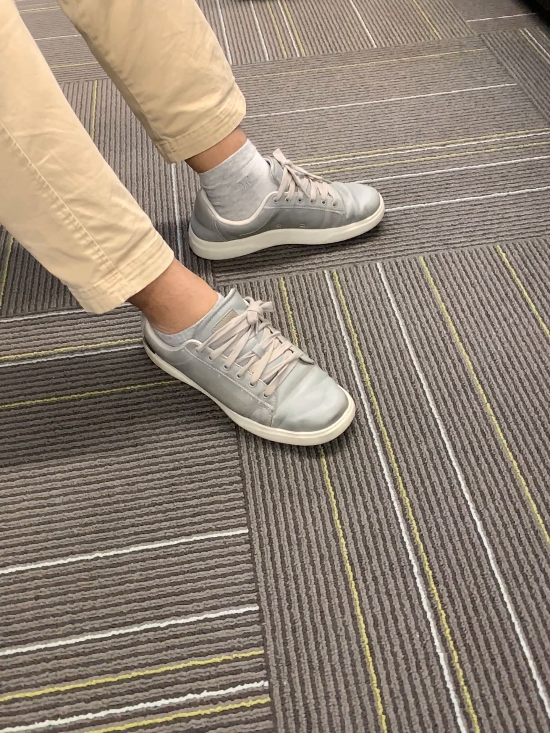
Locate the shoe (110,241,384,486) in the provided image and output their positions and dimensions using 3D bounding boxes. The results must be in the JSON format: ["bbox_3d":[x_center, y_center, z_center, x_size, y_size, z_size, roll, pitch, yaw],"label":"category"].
[{"bbox_3d":[-0.032,-0.008,0.645,0.271,0.139,0.120,28,60,21],"label":"shoe"}]

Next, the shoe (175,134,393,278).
[{"bbox_3d":[0.010,-0.234,0.815,0.280,0.110,0.121,-11,54,-5],"label":"shoe"}]
